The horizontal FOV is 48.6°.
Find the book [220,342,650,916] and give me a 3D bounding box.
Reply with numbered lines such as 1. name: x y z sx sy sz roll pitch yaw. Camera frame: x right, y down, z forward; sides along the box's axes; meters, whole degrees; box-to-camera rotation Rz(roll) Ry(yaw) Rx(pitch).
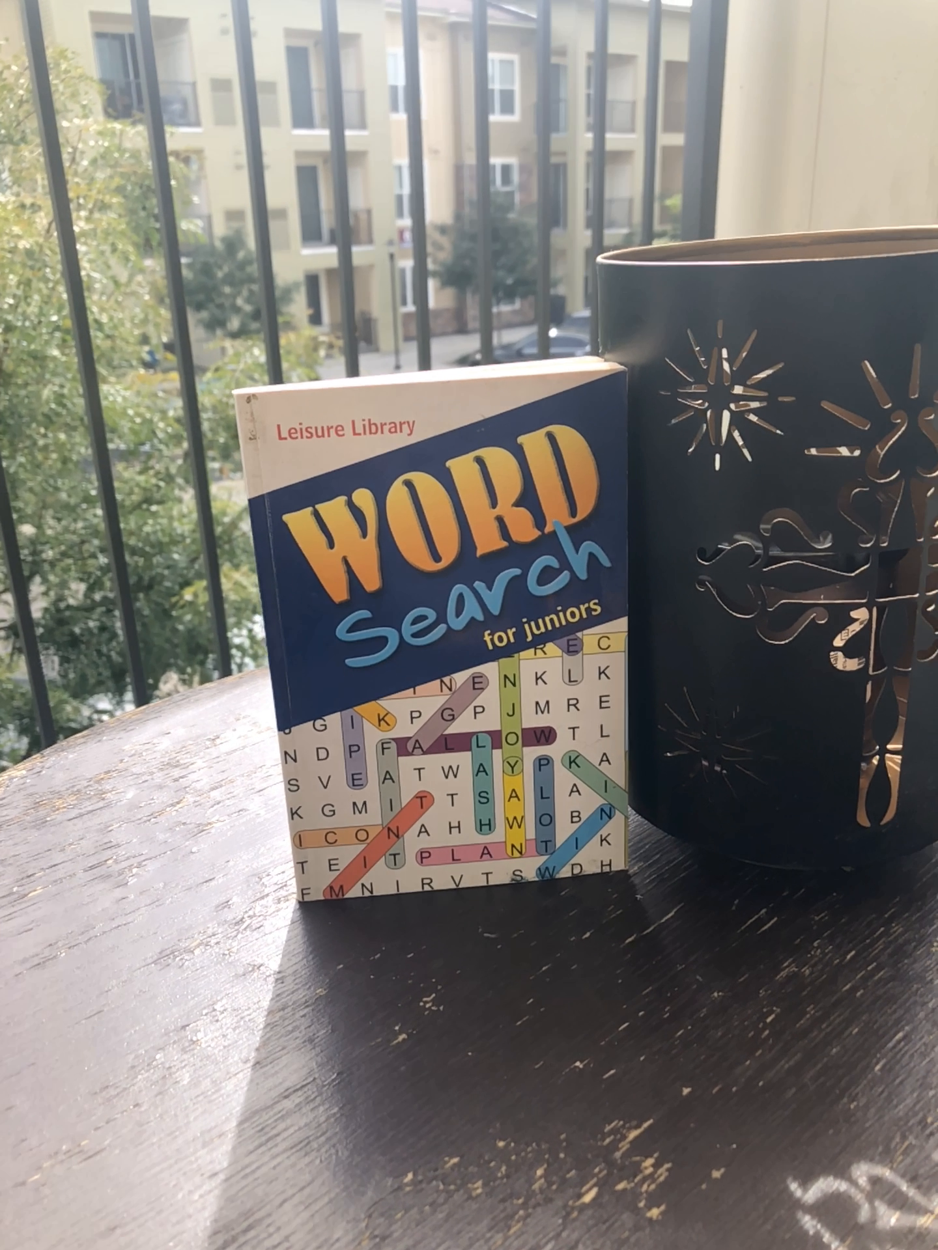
1. book: -0.007 0.003 0.342 0.124 0.179 0.031 -4 18 -6
